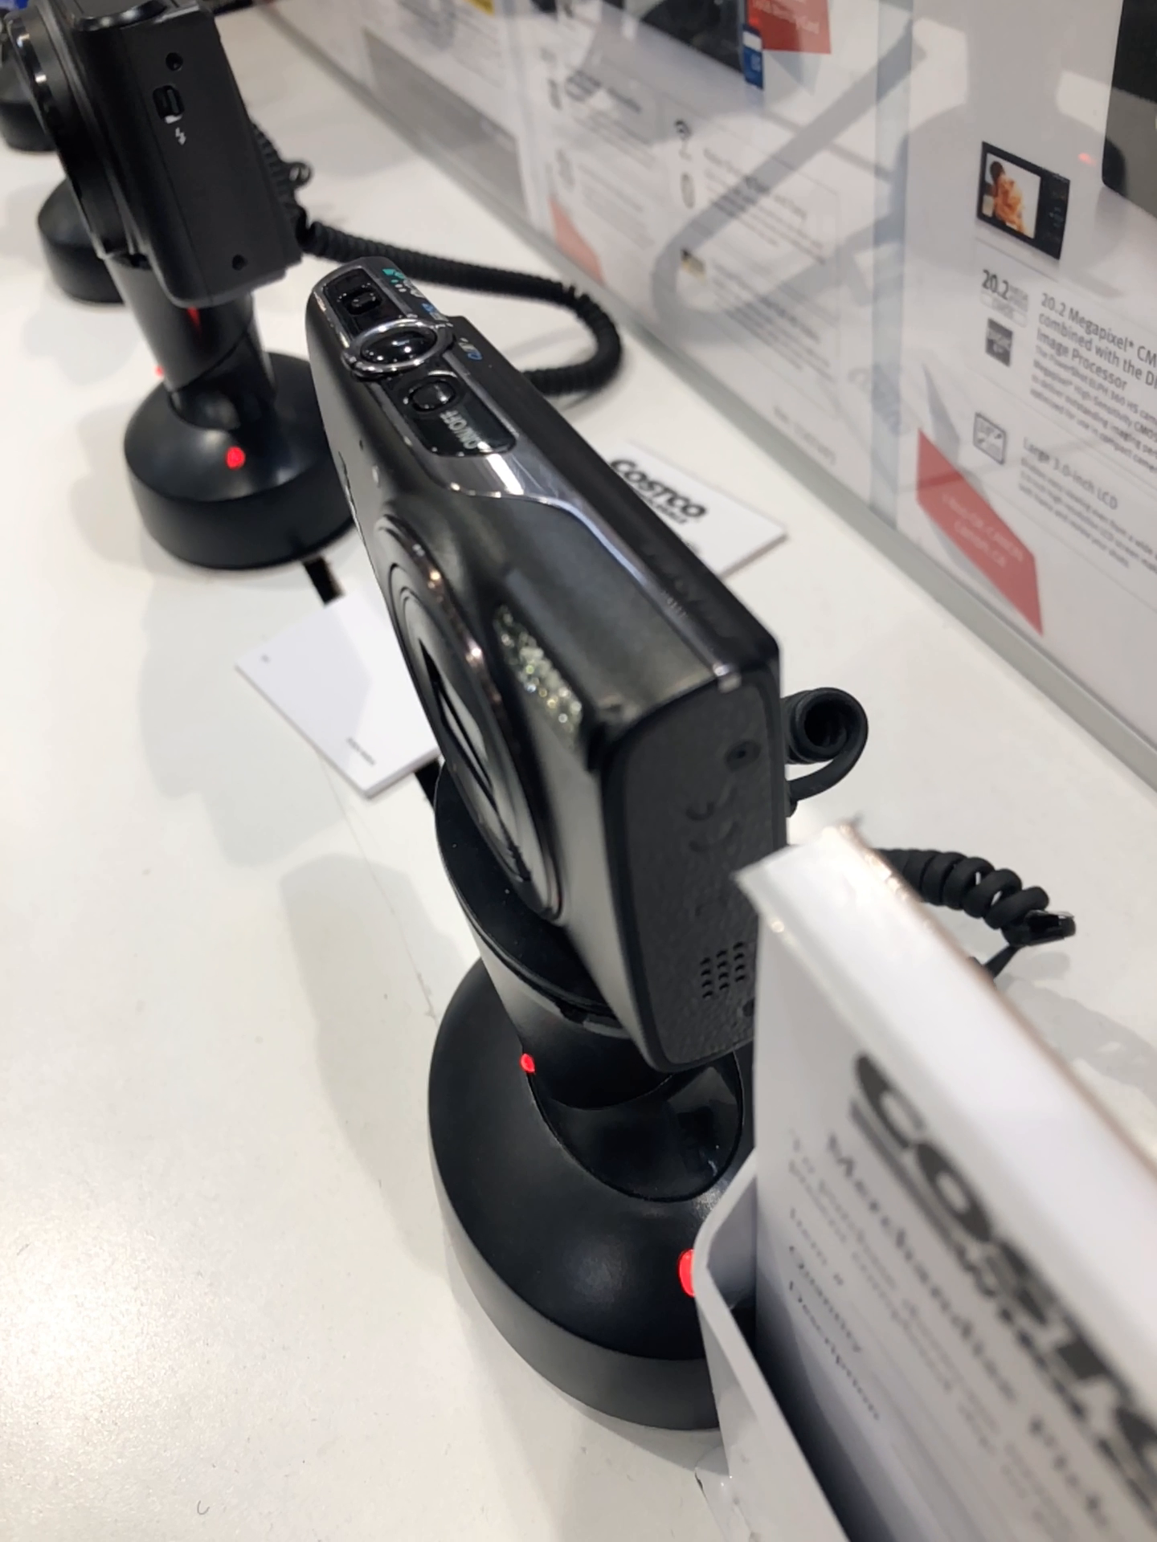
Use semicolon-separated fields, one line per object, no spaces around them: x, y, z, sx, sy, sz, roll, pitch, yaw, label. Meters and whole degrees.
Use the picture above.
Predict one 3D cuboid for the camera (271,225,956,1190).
-0.001;-0.015;0.159;0.030;0.060;0.111;-22;46;-11;camera
